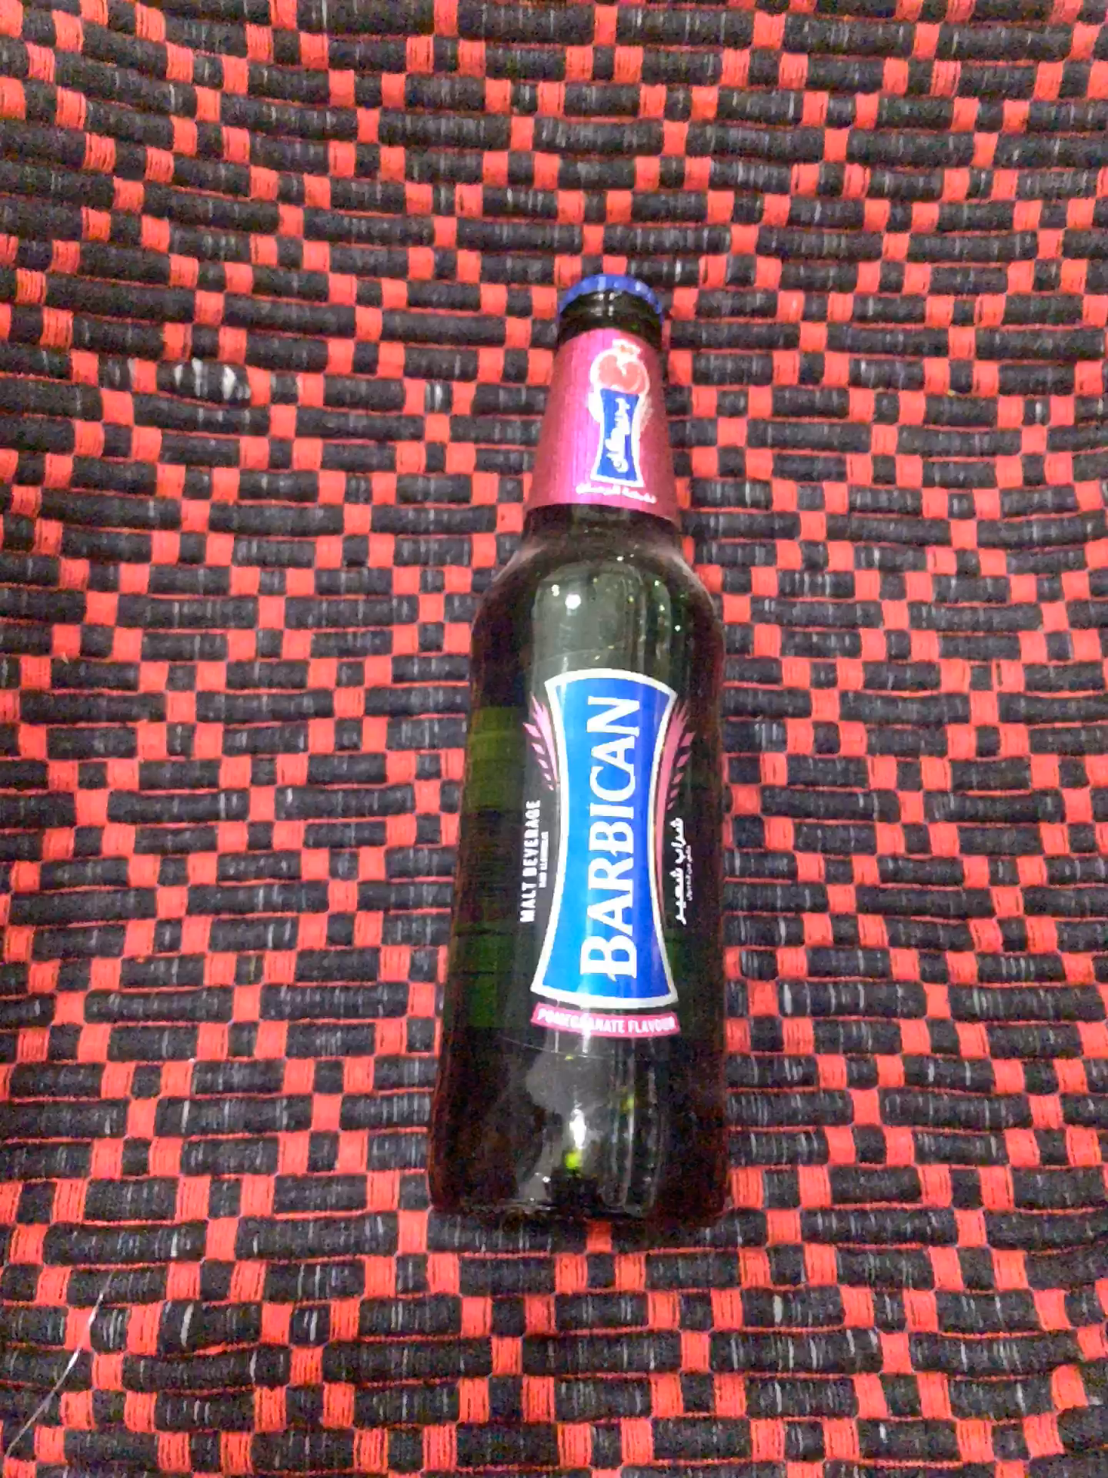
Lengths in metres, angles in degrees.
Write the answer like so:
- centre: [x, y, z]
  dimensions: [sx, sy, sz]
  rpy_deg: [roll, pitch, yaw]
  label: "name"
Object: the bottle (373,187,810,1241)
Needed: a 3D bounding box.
- centre: [0.008, -0.015, 0.275]
  dimensions: [0.070, 0.080, 0.240]
  rpy_deg: [2, 63, -1]
  label: "bottle"
